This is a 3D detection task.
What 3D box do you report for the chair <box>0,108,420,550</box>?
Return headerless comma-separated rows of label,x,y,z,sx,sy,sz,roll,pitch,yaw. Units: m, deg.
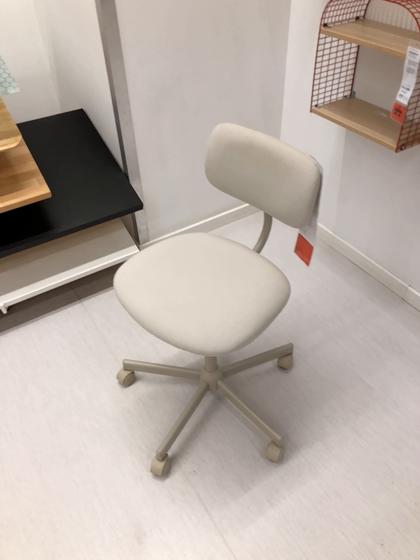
chair,0.019,0.089,1.272,0.642,0.765,0.692,33,52,33
